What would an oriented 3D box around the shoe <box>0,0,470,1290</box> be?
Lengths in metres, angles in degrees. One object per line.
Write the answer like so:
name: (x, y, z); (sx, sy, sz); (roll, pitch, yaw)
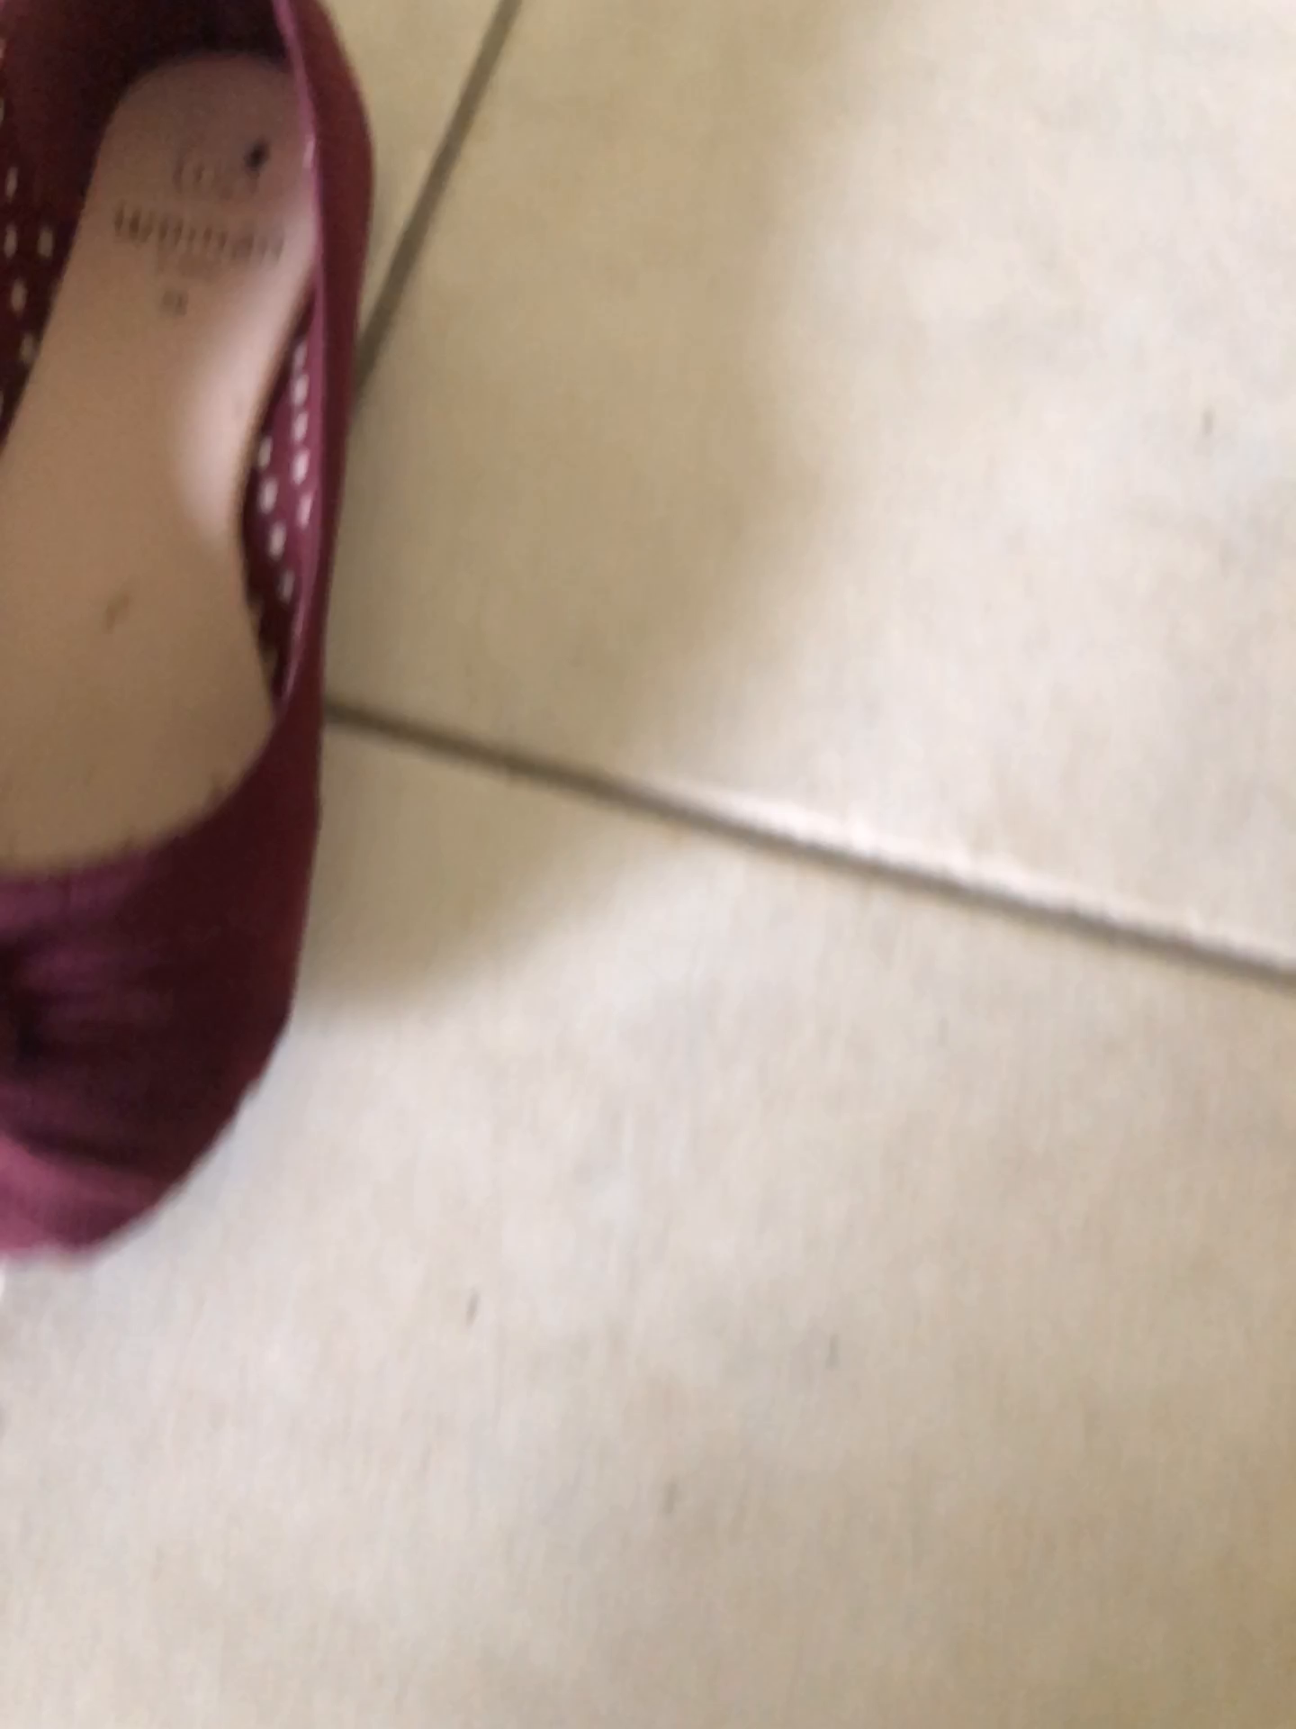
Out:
shoe: (-0.094, -0.063, 0.252); (0.082, 0.080, 0.251); (3, 71, 5)
